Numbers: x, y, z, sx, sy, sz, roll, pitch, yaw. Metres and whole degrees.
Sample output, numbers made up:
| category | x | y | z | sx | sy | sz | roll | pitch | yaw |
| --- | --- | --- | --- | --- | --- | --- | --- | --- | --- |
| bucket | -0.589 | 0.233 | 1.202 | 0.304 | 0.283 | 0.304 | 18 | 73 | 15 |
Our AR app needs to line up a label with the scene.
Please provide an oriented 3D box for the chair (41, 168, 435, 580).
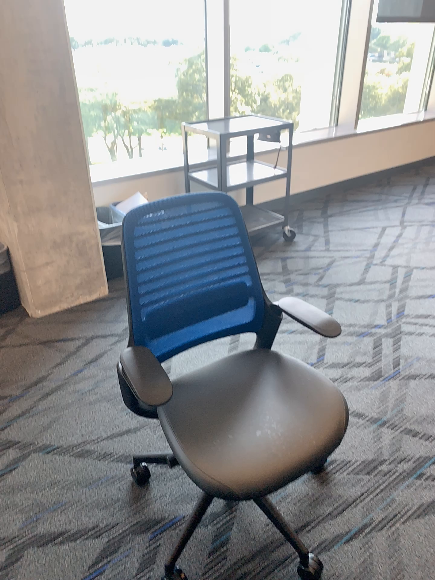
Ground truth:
| category | x | y | z | sx | sy | sz | roll | pitch | yaw |
| --- | --- | --- | --- | --- | --- | --- | --- | --- | --- |
| chair | 0.074 | 0.238 | 1.204 | 0.702 | 0.883 | 0.683 | -21 | 35 | -31 |
